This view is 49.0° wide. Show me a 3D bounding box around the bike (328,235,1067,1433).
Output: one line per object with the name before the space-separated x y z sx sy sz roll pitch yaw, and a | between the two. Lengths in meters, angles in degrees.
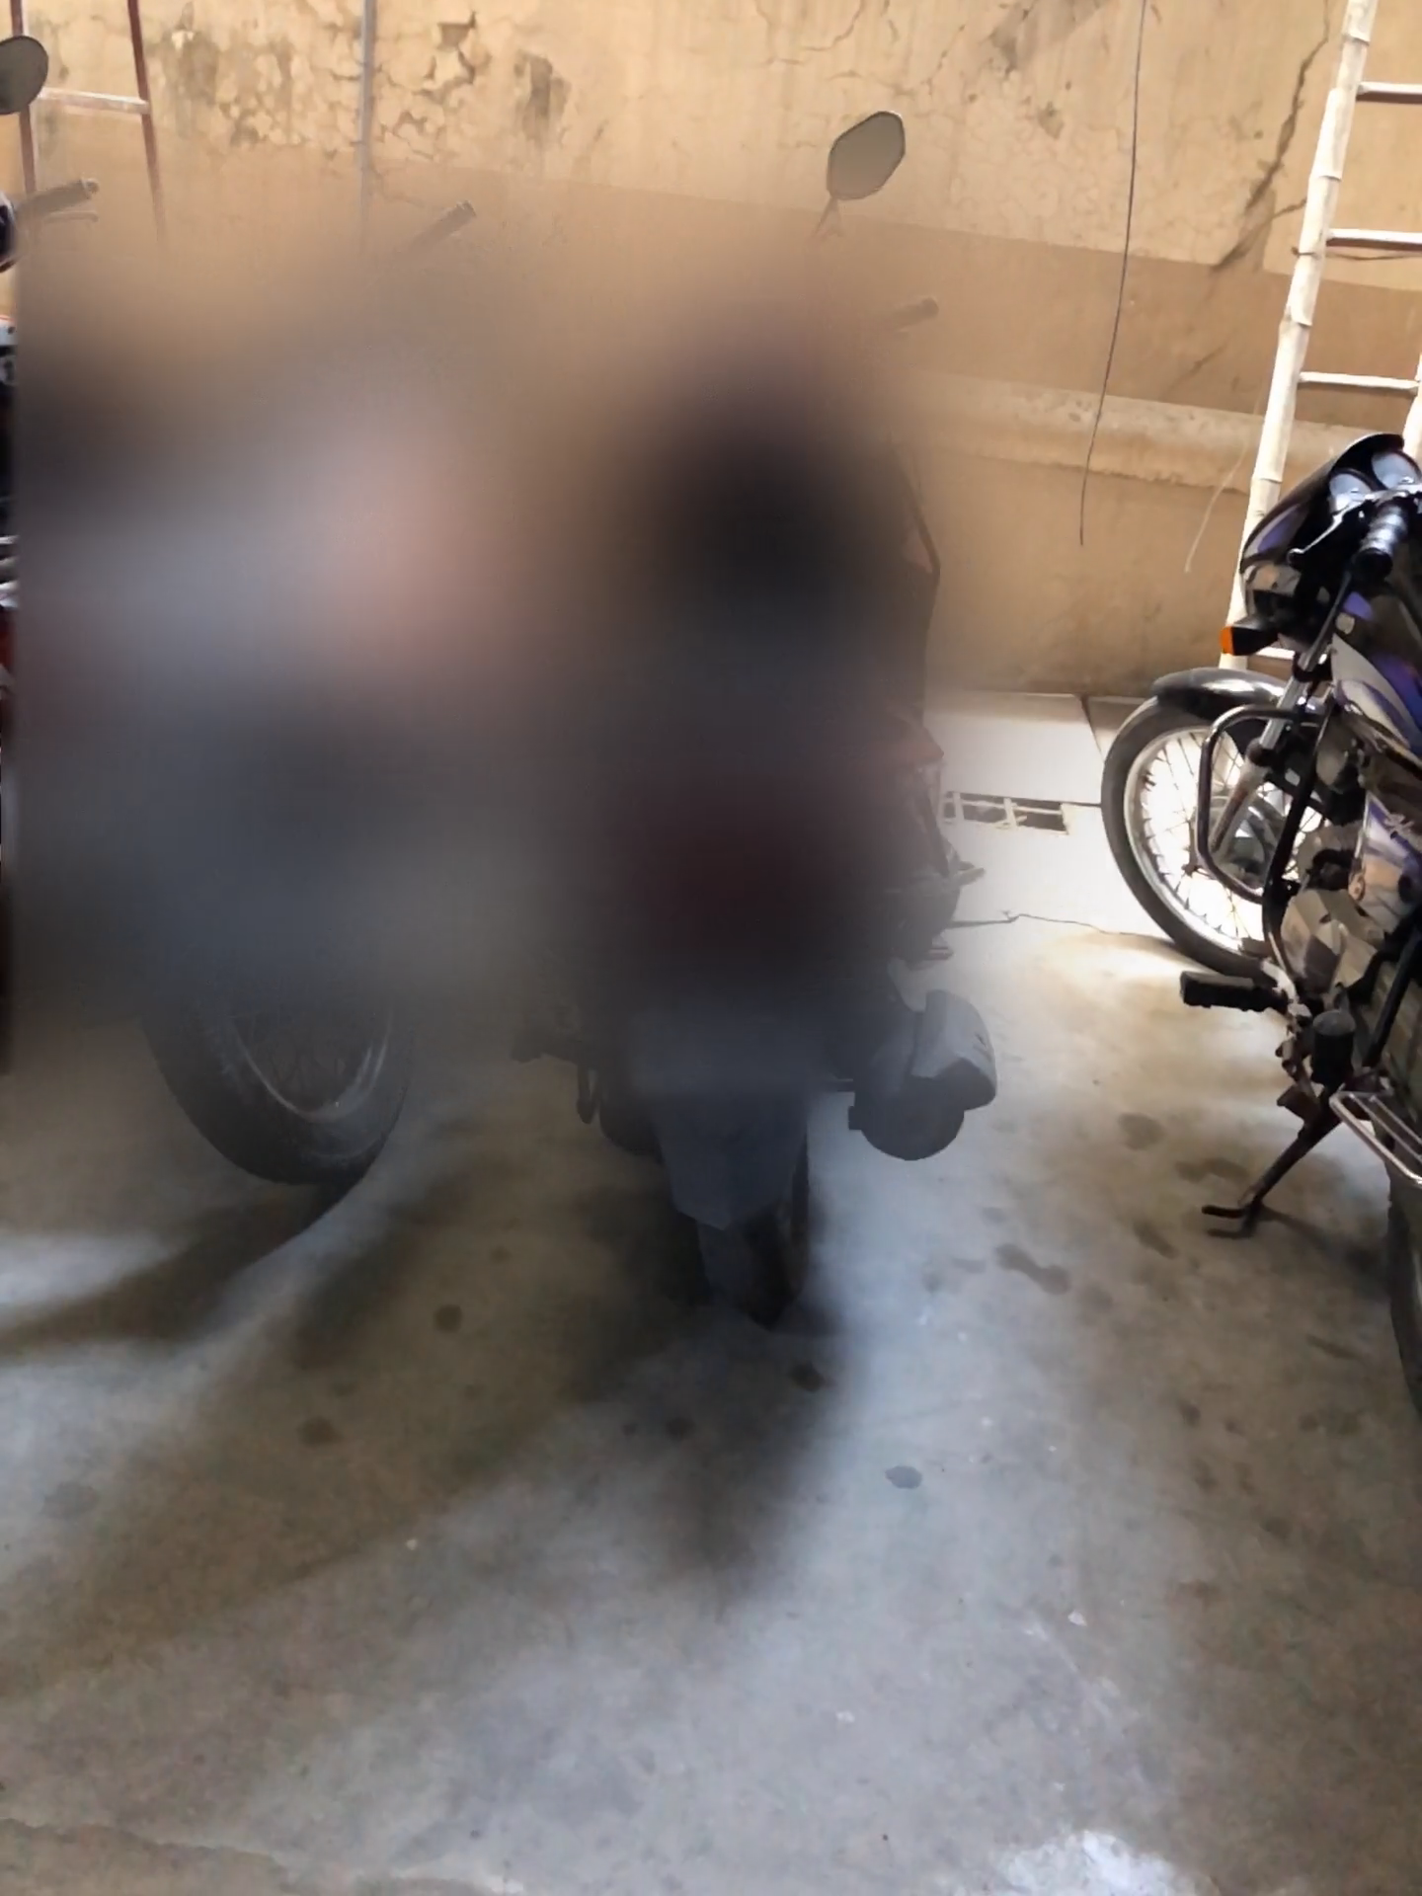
bike | -0.044 -0.315 2.230 0.630 1.140 1.446 7 27 -1

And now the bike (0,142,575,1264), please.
bike | -0.756 -0.519 2.370 0.838 1.090 1.657 7 25 -1
